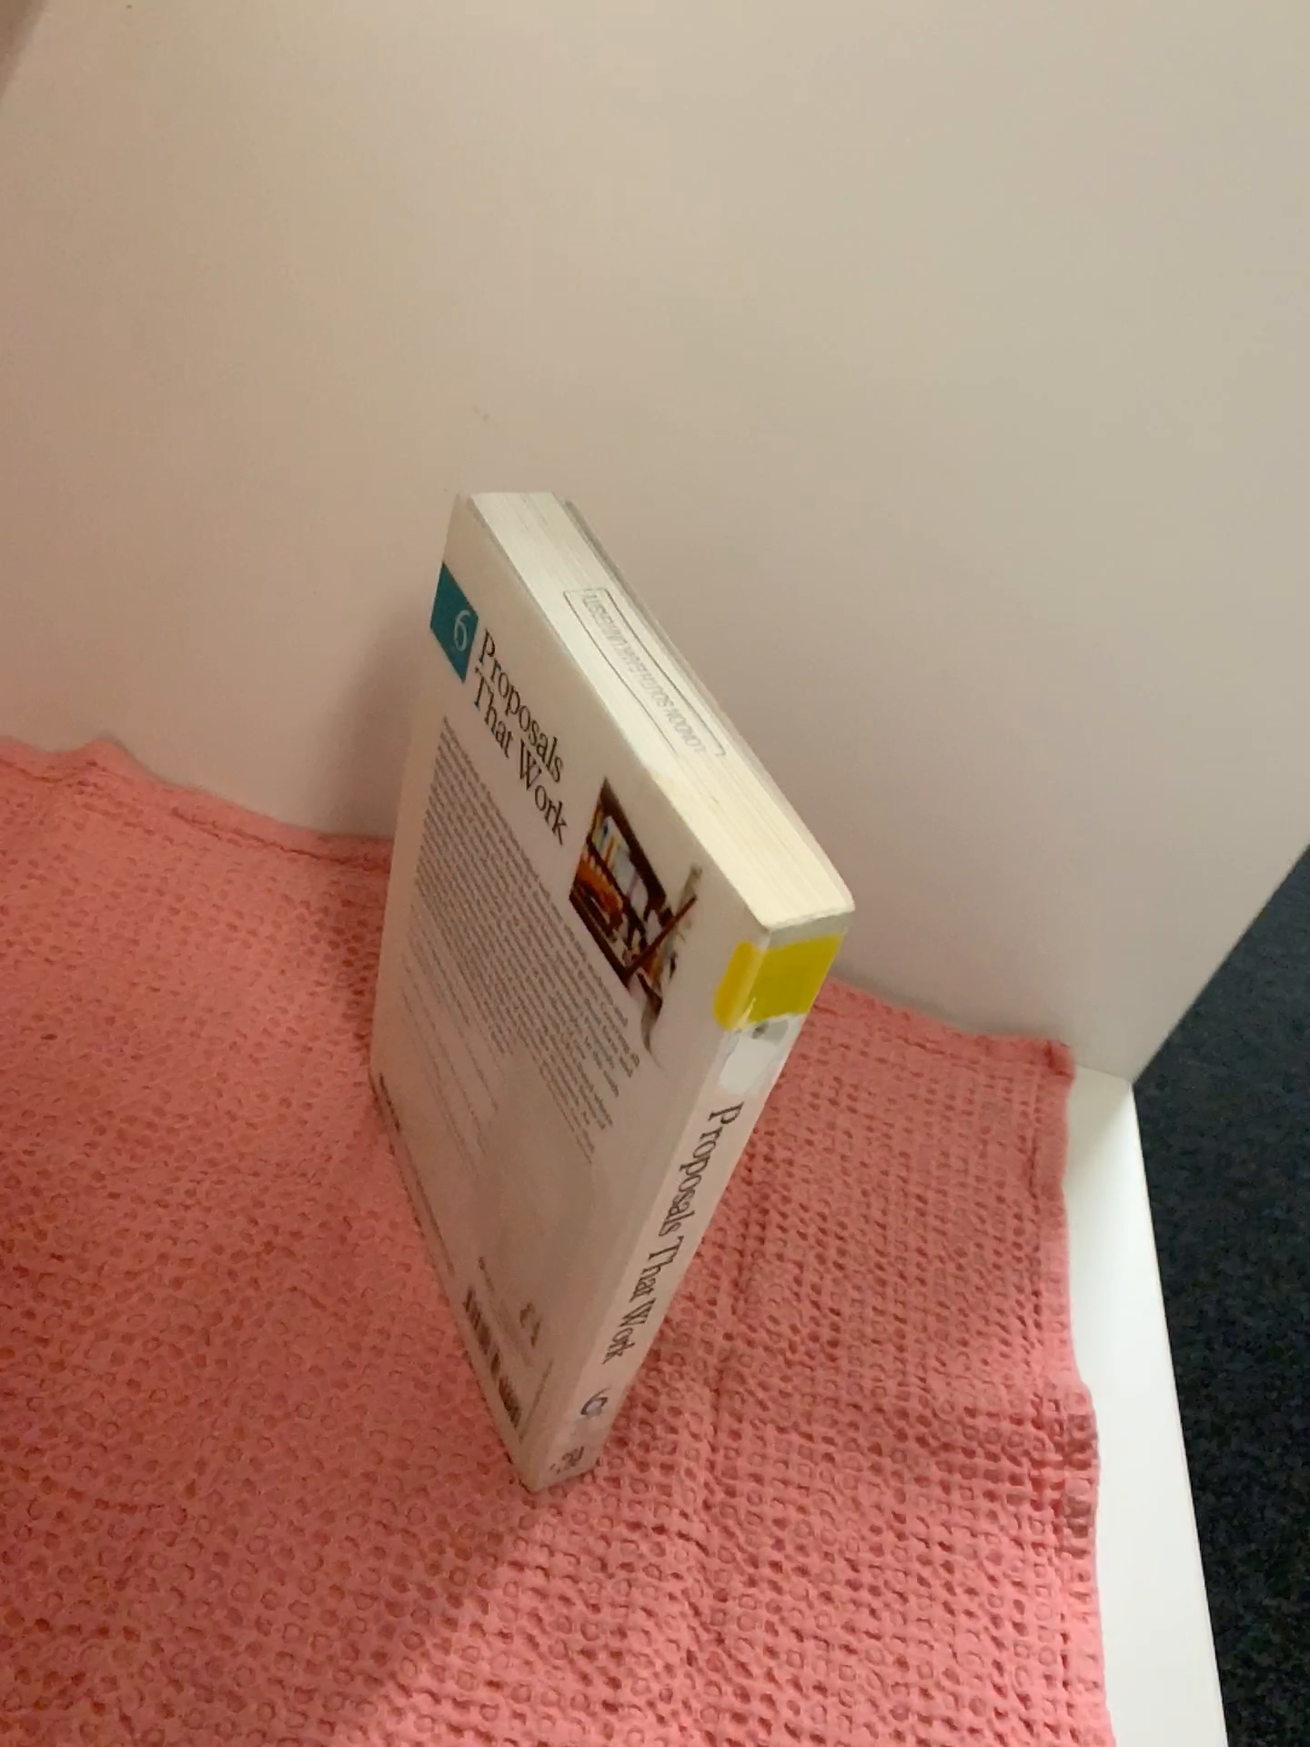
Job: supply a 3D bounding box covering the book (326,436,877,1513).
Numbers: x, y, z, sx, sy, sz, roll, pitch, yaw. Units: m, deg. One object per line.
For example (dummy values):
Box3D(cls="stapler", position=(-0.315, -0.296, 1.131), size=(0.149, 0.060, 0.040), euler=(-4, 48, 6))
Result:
Box3D(cls="book", position=(-0.040, 0.034, 0.375), size=(0.030, 0.238, 0.181), euler=(-8, 46, -29))
